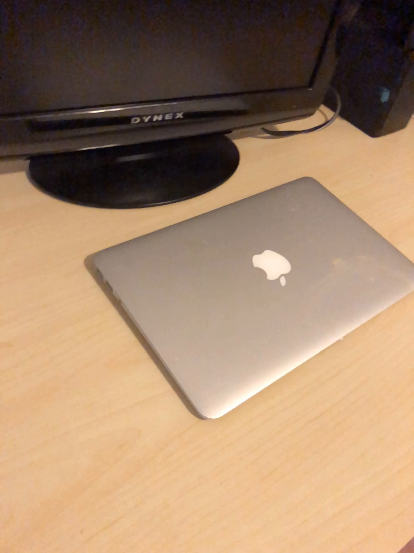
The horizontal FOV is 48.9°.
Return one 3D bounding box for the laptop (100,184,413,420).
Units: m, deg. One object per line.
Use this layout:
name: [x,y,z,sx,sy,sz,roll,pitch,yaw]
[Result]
laptop: [0.060,-0.003,0.460,0.279,0.005,0.181,-24,59,-31]
